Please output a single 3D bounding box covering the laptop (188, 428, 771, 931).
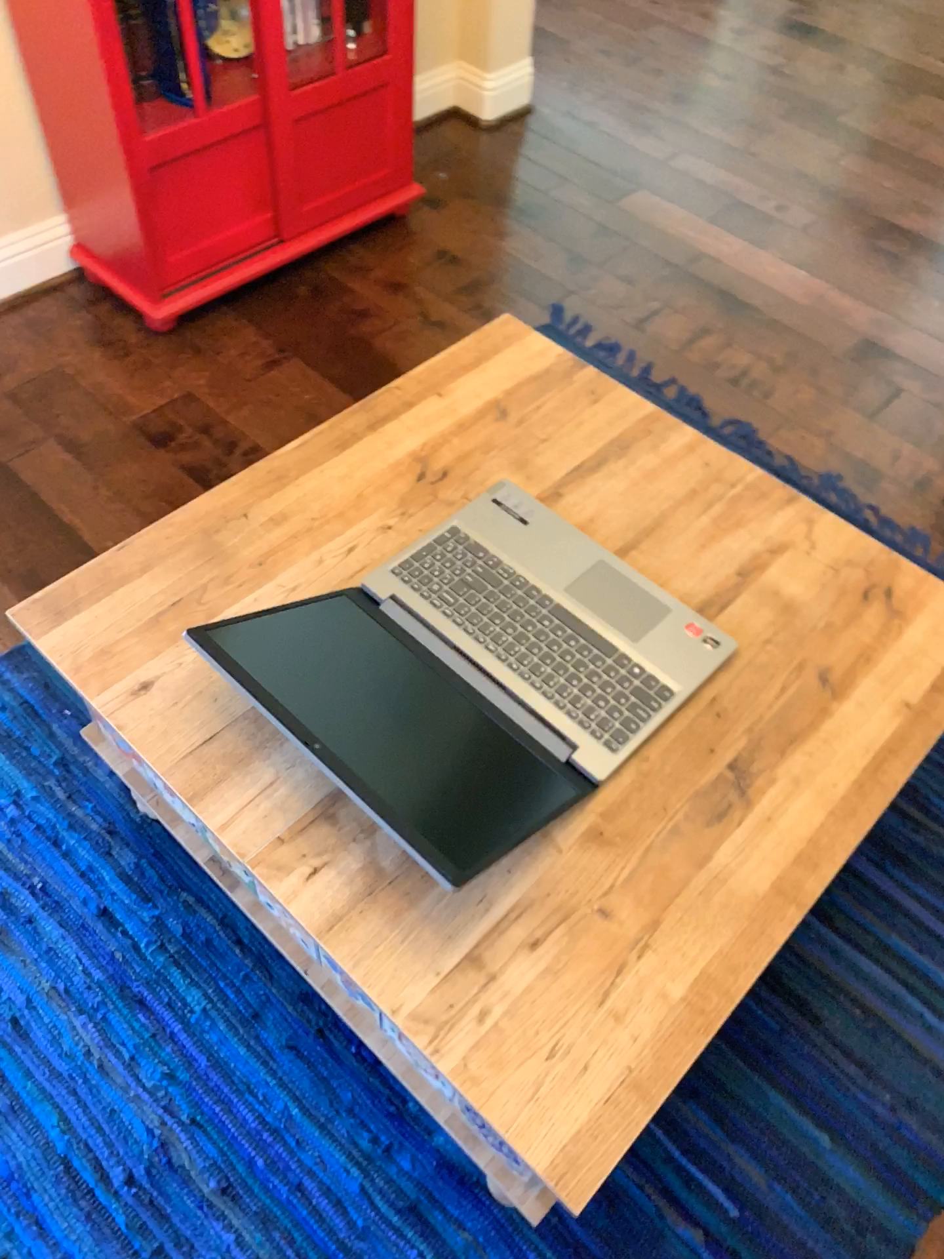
[{"bbox_3d":[0.020,0.013,0.985,0.346,0.099,0.461,39,56,22],"label":"laptop"}]
